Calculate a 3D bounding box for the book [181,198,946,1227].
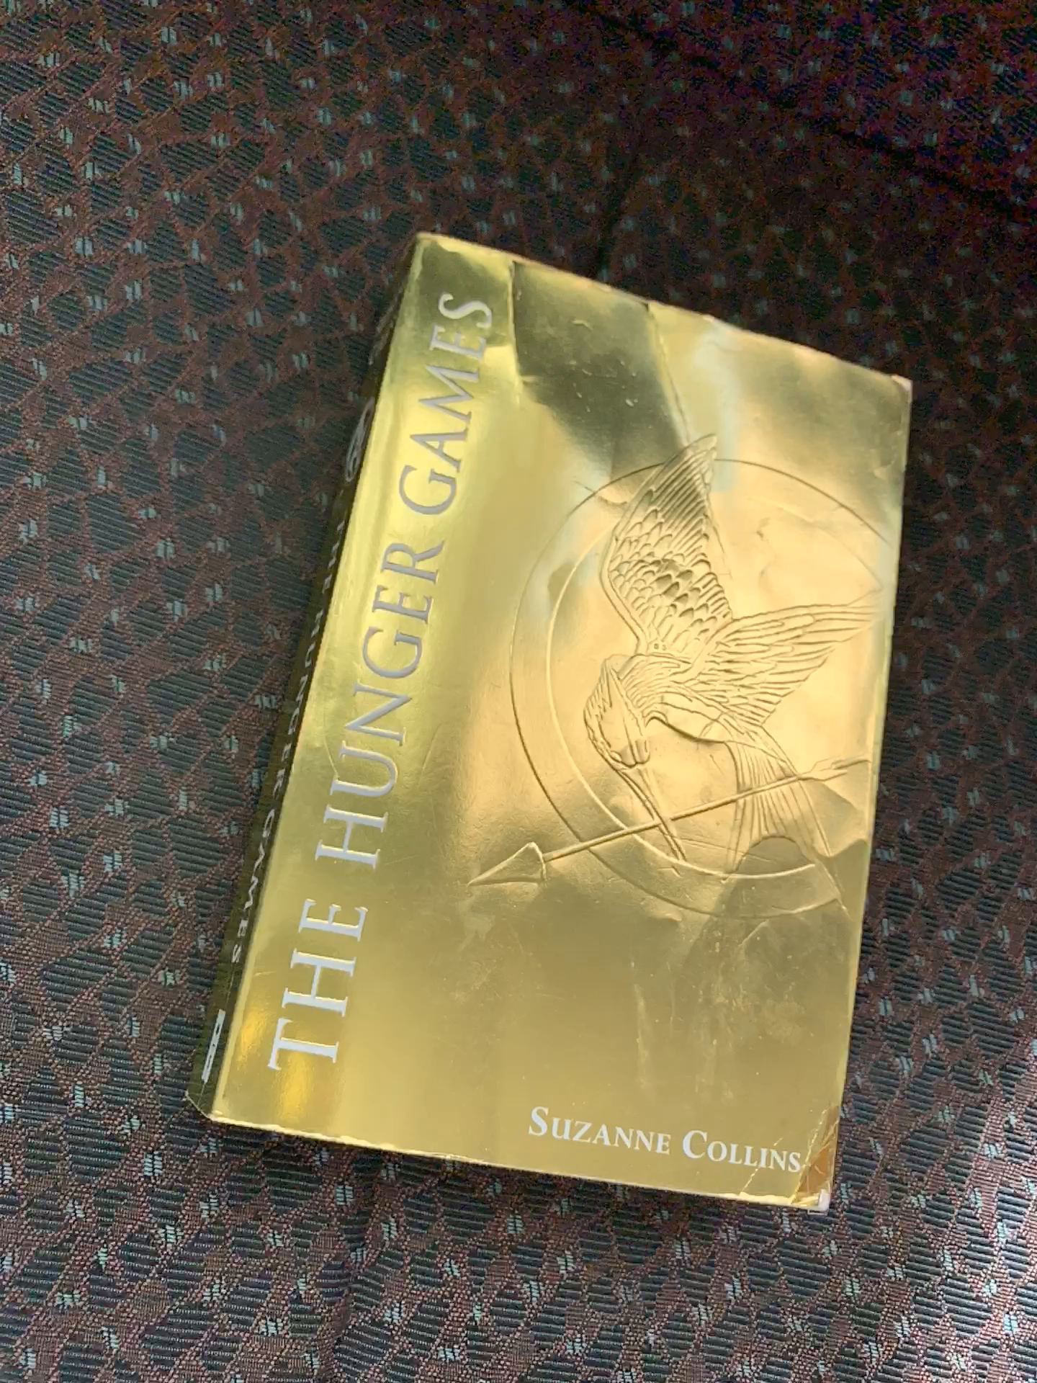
[{"bbox_3d":[0.020,0.003,0.252,0.142,0.037,0.200,14,74,-12],"label":"book"}]
